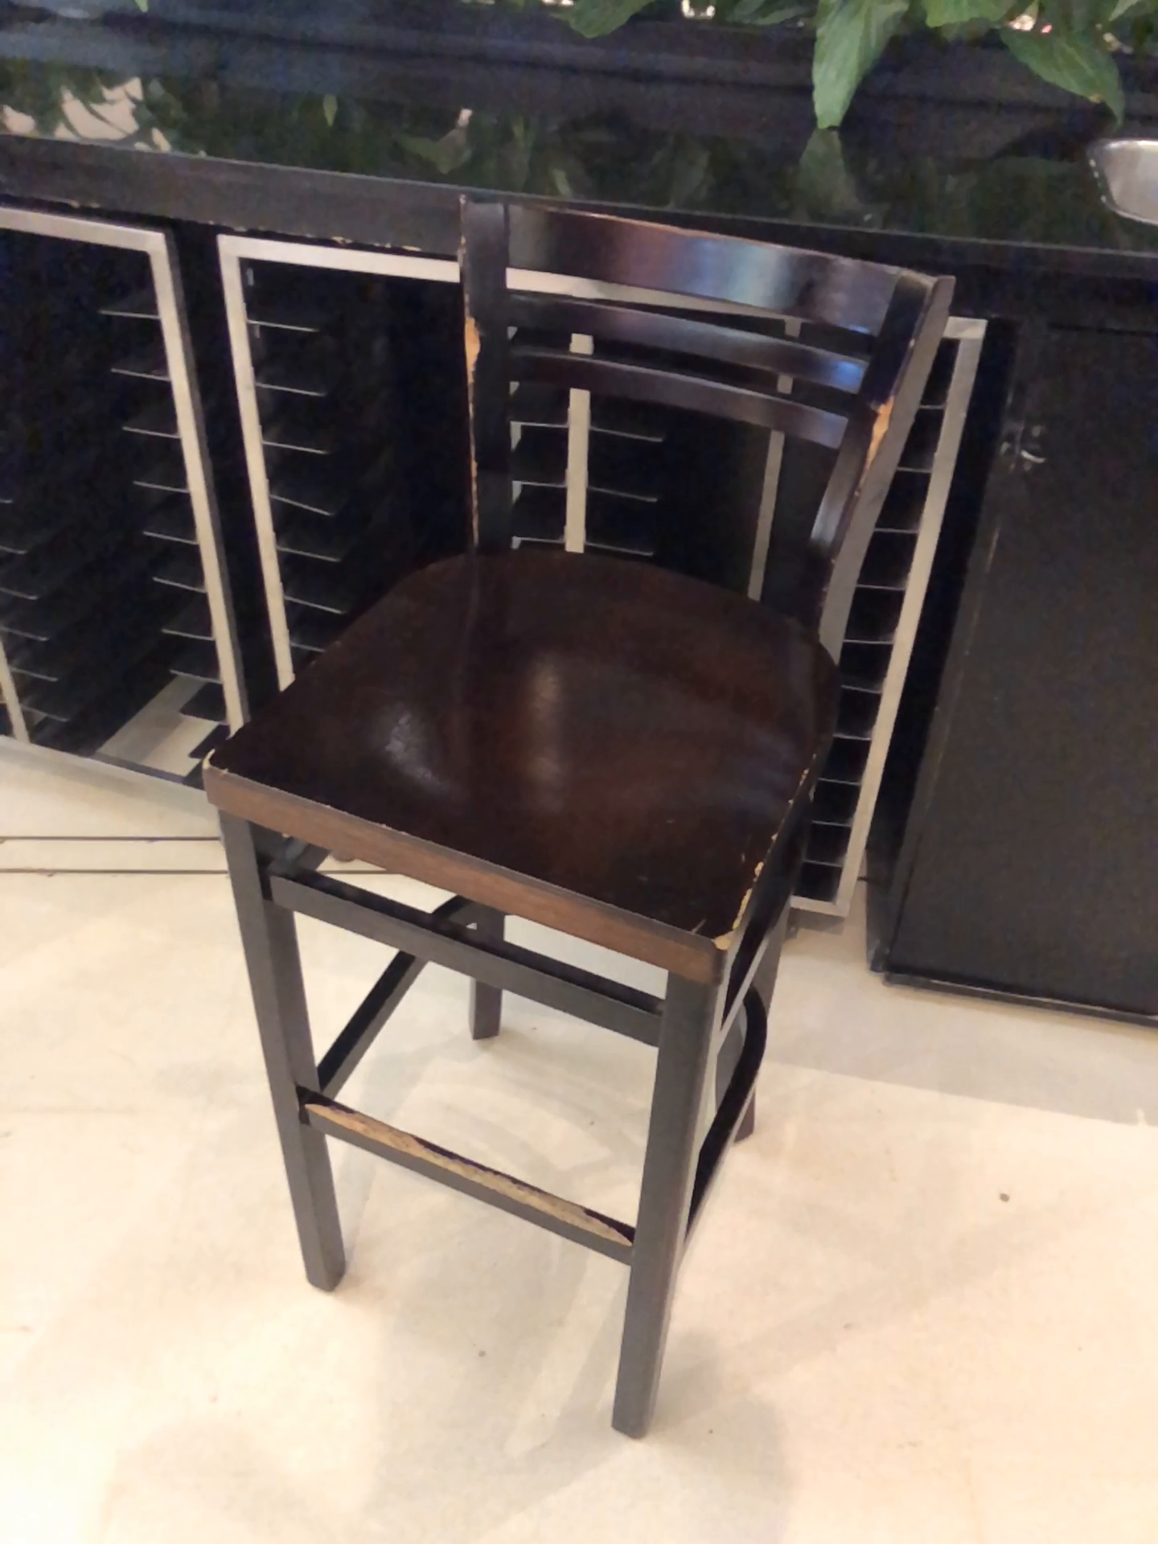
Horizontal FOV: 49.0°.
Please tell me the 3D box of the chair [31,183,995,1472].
[{"bbox_3d":[-0.015,0.073,1.071,0.440,0.913,0.453,17,41,18],"label":"chair"}]
